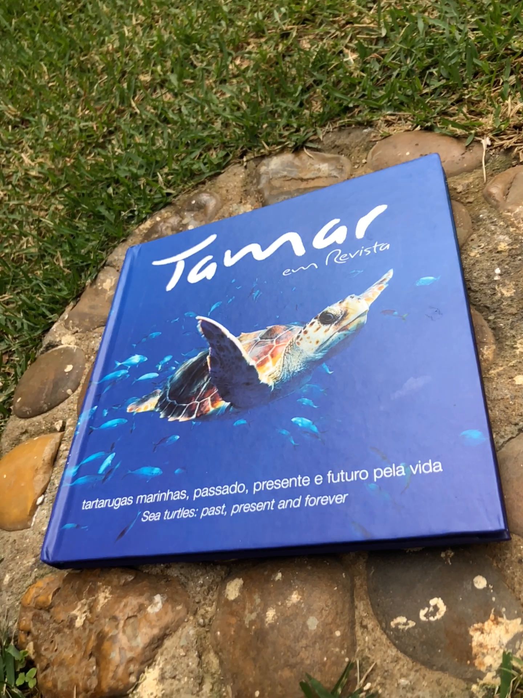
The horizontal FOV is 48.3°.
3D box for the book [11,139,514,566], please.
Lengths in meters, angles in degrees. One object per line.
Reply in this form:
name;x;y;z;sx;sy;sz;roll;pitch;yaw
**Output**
book;-0.005;-0.001;0.245;0.179;0.020;0.167;-12;51;23
